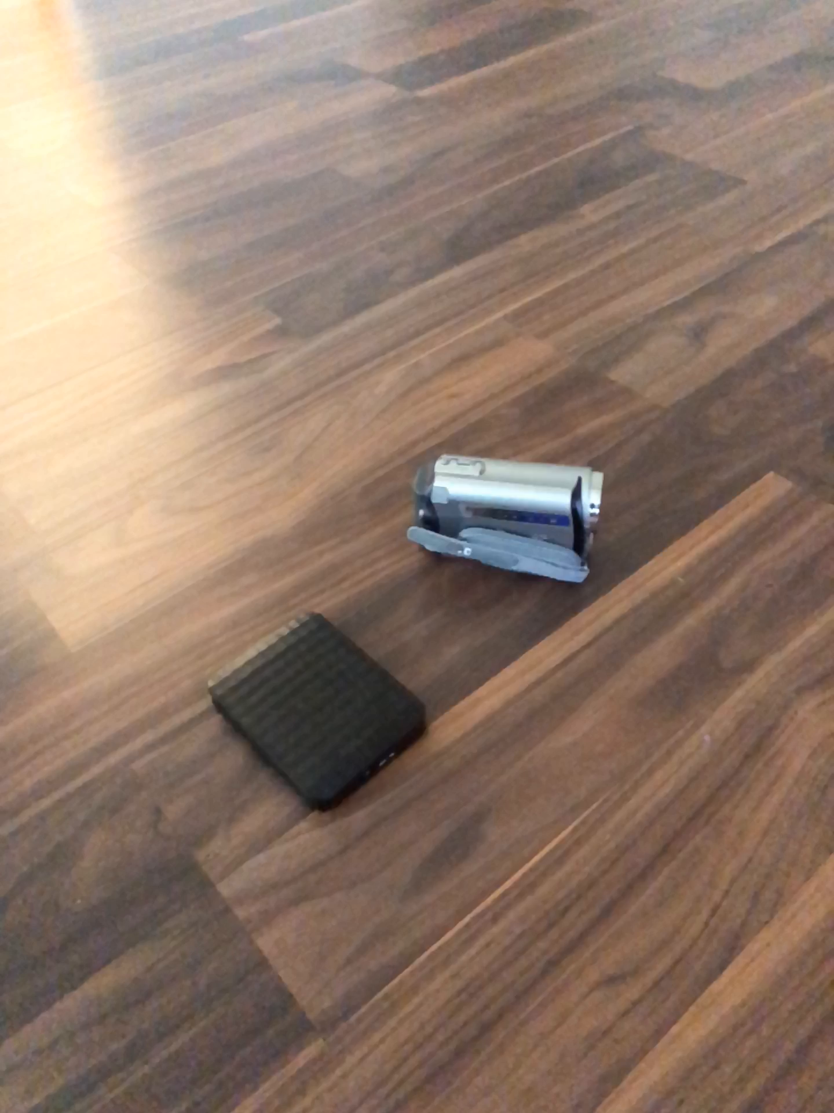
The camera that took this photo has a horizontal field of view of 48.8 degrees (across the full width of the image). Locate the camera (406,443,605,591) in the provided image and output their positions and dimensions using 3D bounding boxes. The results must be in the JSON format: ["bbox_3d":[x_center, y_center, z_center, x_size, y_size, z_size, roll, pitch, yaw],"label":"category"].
[{"bbox_3d":[0.057,-0.025,0.587,0.115,0.065,0.048,8,46,12],"label":"camera"}]
